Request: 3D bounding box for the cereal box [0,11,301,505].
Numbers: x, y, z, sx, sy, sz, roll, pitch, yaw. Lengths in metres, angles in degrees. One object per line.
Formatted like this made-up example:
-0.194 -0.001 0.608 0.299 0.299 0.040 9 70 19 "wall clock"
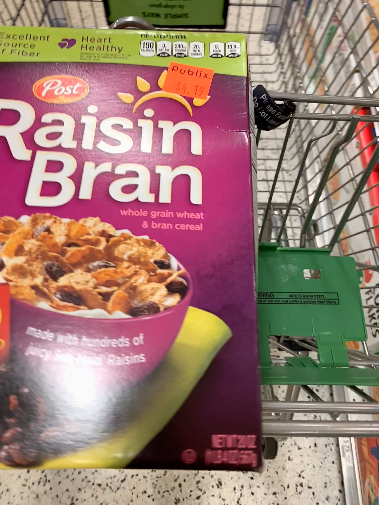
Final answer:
-0.058 -0.018 0.239 0.210 0.060 0.282 2 67 -1 "cereal box"
